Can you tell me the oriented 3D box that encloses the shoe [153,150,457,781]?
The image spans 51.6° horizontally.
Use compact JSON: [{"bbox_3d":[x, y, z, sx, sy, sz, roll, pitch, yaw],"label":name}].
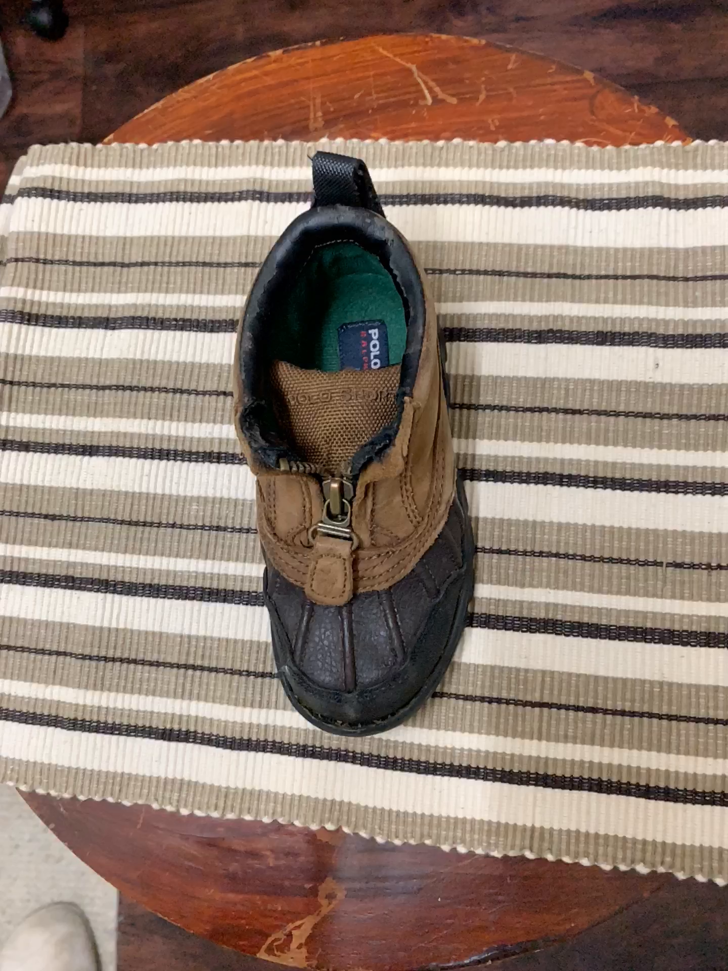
[{"bbox_3d":[-0.011,-0.006,0.263,0.080,0.090,0.180,1,83,9],"label":"shoe"}]
